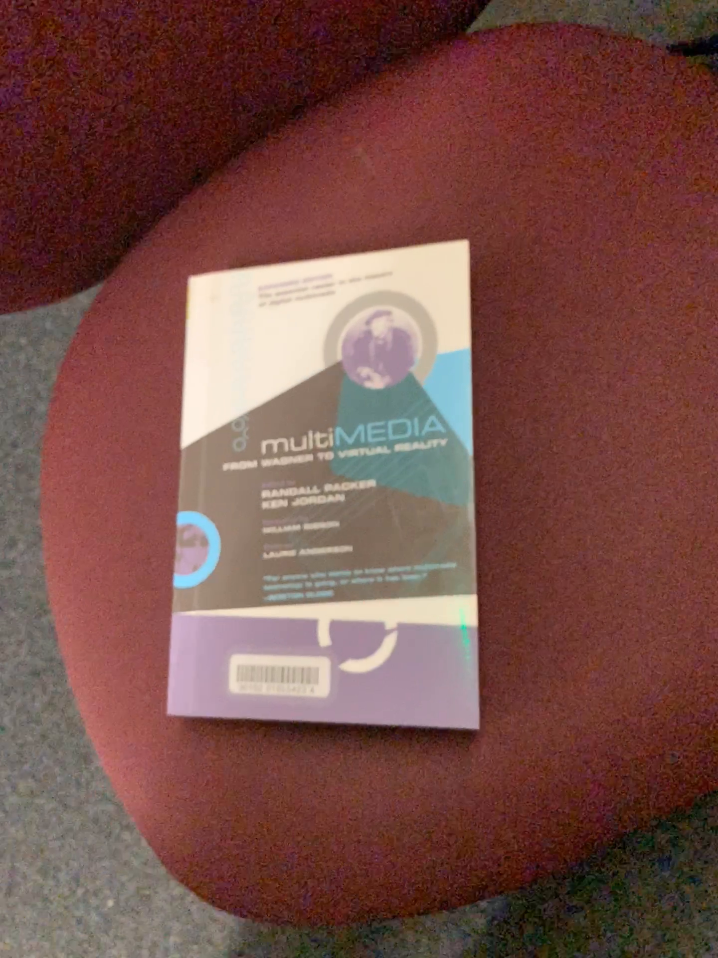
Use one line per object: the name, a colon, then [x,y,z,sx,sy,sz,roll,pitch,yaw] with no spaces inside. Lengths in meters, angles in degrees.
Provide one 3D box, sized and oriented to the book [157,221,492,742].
book: [-0.018,0.001,0.391,0.160,0.040,0.248,-3,78,17]
